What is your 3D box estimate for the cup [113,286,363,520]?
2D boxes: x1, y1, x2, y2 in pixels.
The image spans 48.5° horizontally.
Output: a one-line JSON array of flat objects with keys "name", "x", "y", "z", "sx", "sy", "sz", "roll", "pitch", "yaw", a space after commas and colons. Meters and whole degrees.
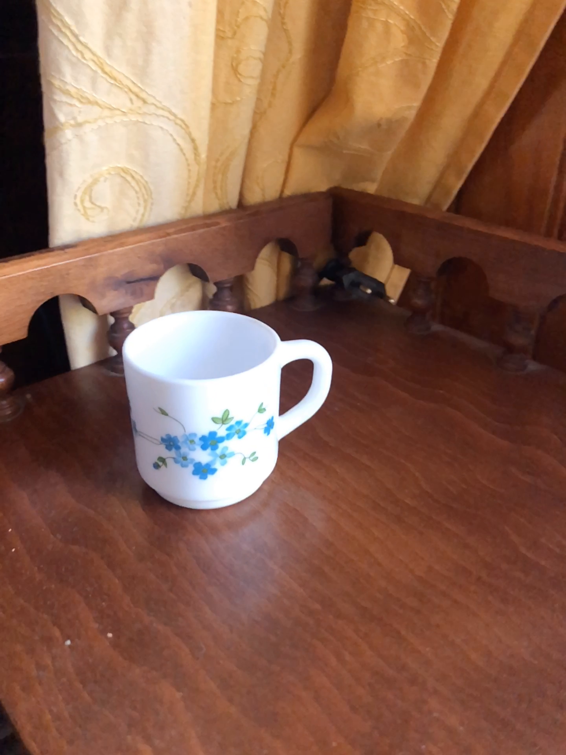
[{"name": "cup", "x": -0.019, "y": 0.006, "z": 0.241, "sx": 0.080, "sy": 0.060, "sz": 0.060, "roll": -5, "pitch": 30, "yaw": -10}]
